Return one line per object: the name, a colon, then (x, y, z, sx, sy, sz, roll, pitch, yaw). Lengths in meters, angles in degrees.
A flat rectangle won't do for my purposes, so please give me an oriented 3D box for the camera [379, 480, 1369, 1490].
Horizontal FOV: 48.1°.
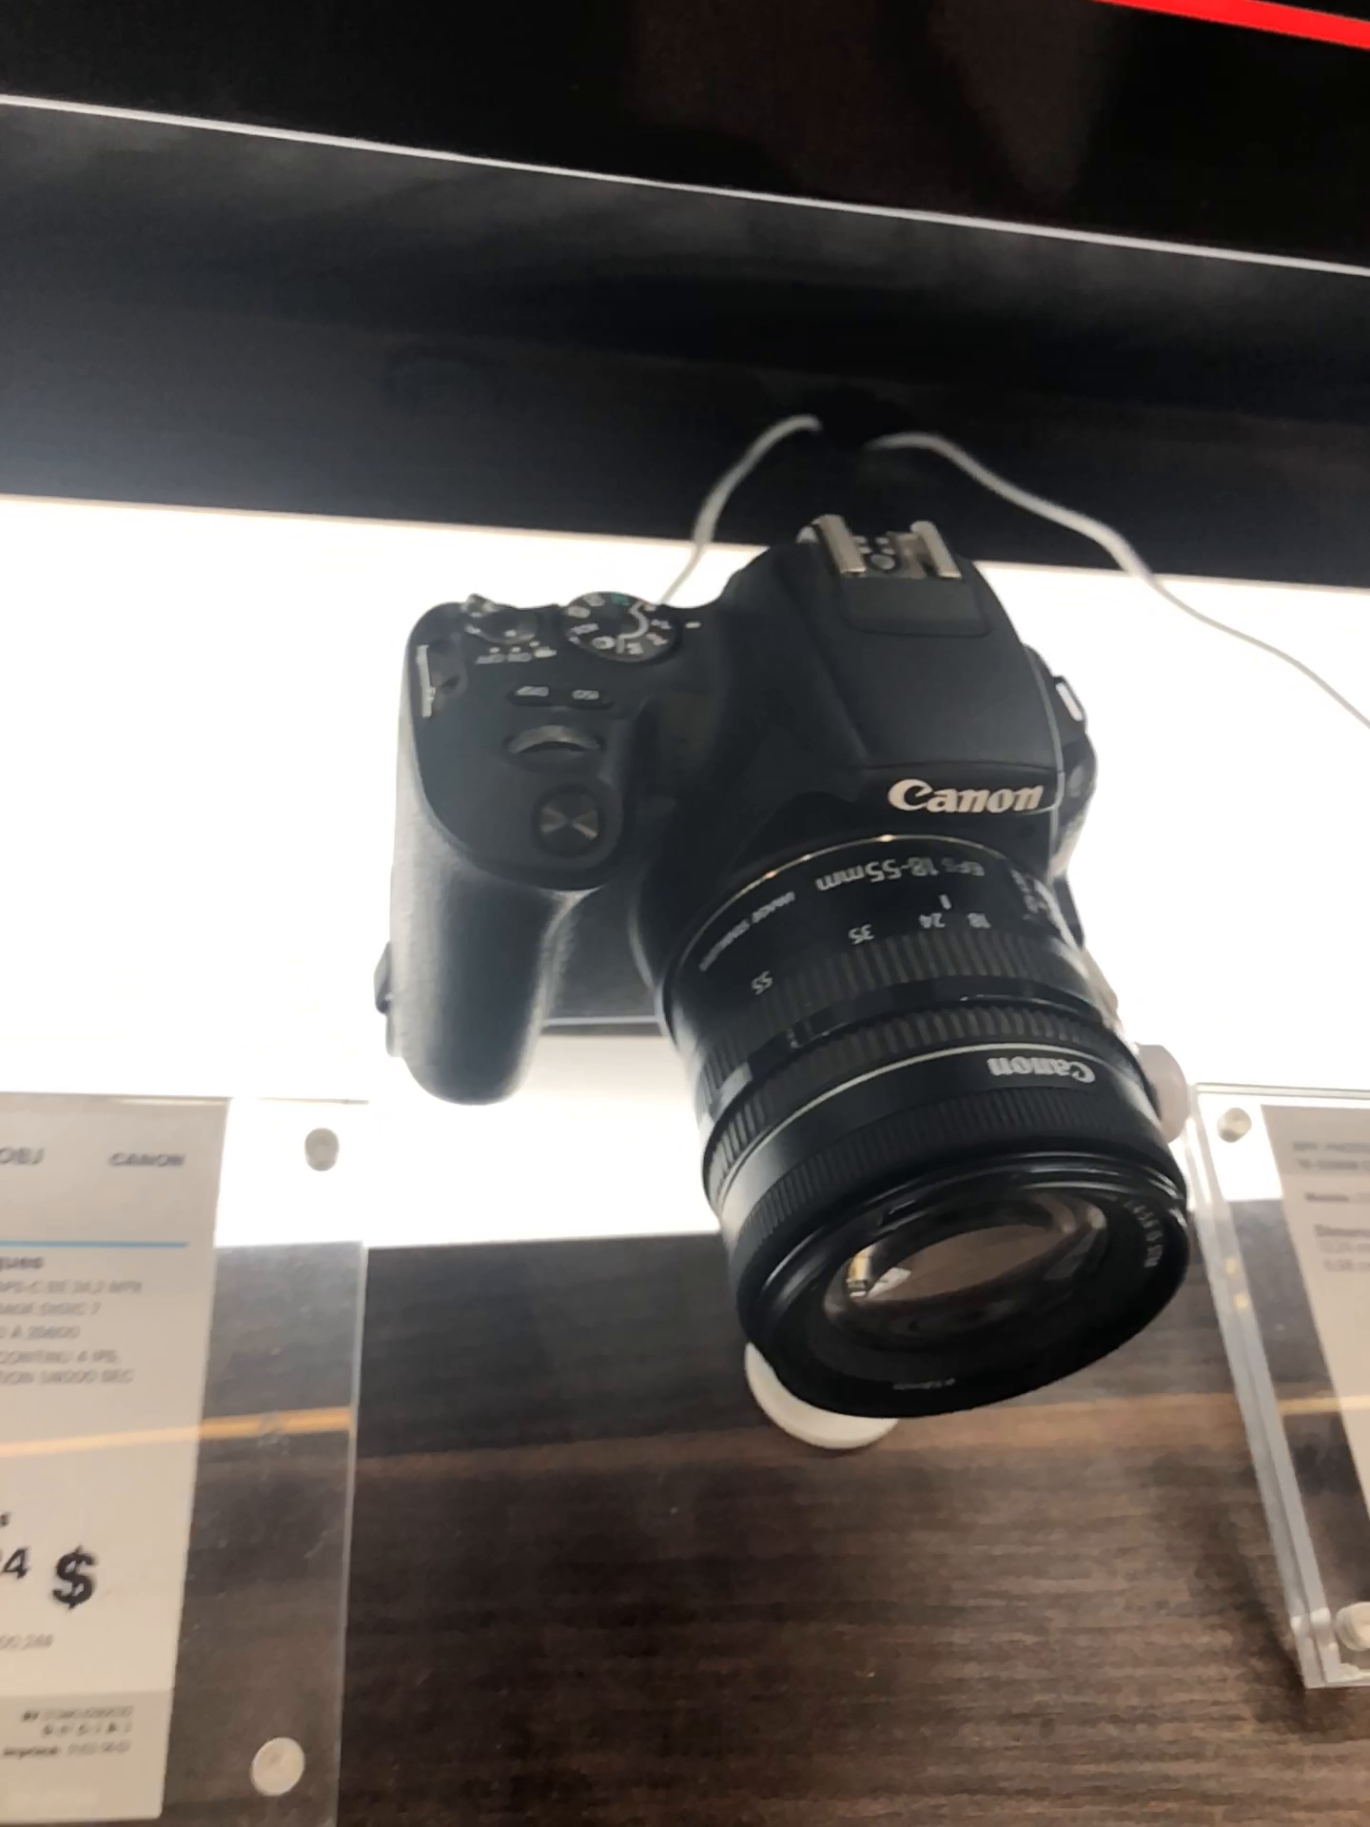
camera: (0.020, 0.006, 0.232, 0.124, 0.082, 0.119, 0, 44, -14)
